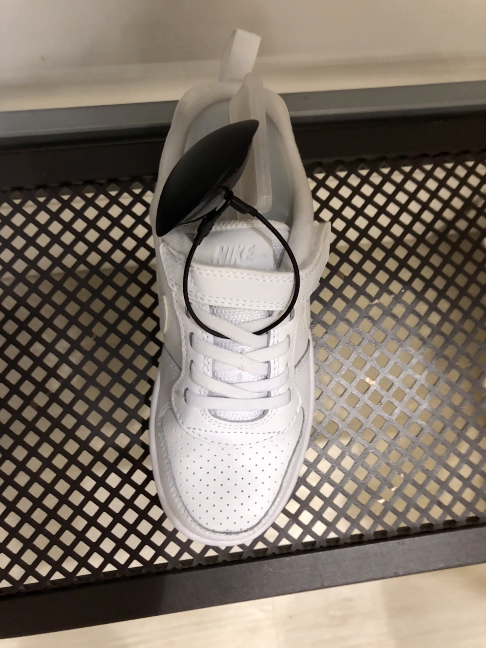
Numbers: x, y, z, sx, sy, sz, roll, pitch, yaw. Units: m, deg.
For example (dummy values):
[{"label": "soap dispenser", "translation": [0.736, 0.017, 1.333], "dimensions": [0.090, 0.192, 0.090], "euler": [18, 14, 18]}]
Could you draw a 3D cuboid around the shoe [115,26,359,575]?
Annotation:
[{"label": "shoe", "translation": [-0.004, -0.008, 0.245], "dimensions": [0.080, 0.100, 0.200], "euler": [1, 80, -4]}]
